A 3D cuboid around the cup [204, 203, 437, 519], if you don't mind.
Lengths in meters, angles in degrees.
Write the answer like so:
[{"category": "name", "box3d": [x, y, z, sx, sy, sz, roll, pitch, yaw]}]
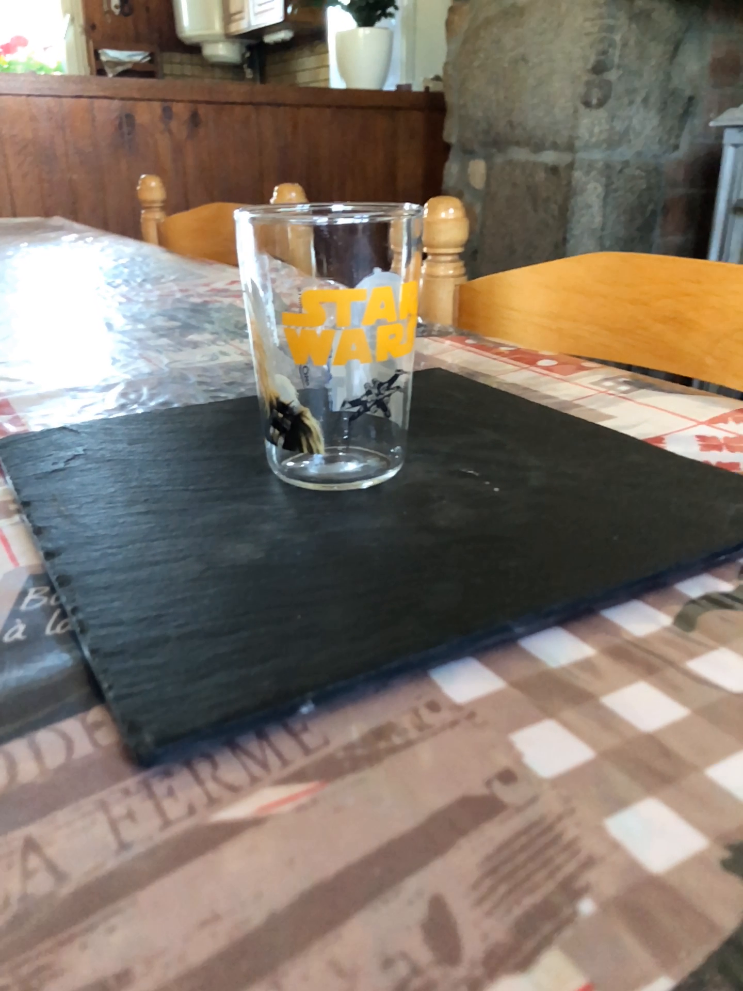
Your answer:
[{"category": "cup", "box3d": [-0.015, -0.052, 0.297, 0.070, 0.099, 0.070, 0, 22, 0]}]
